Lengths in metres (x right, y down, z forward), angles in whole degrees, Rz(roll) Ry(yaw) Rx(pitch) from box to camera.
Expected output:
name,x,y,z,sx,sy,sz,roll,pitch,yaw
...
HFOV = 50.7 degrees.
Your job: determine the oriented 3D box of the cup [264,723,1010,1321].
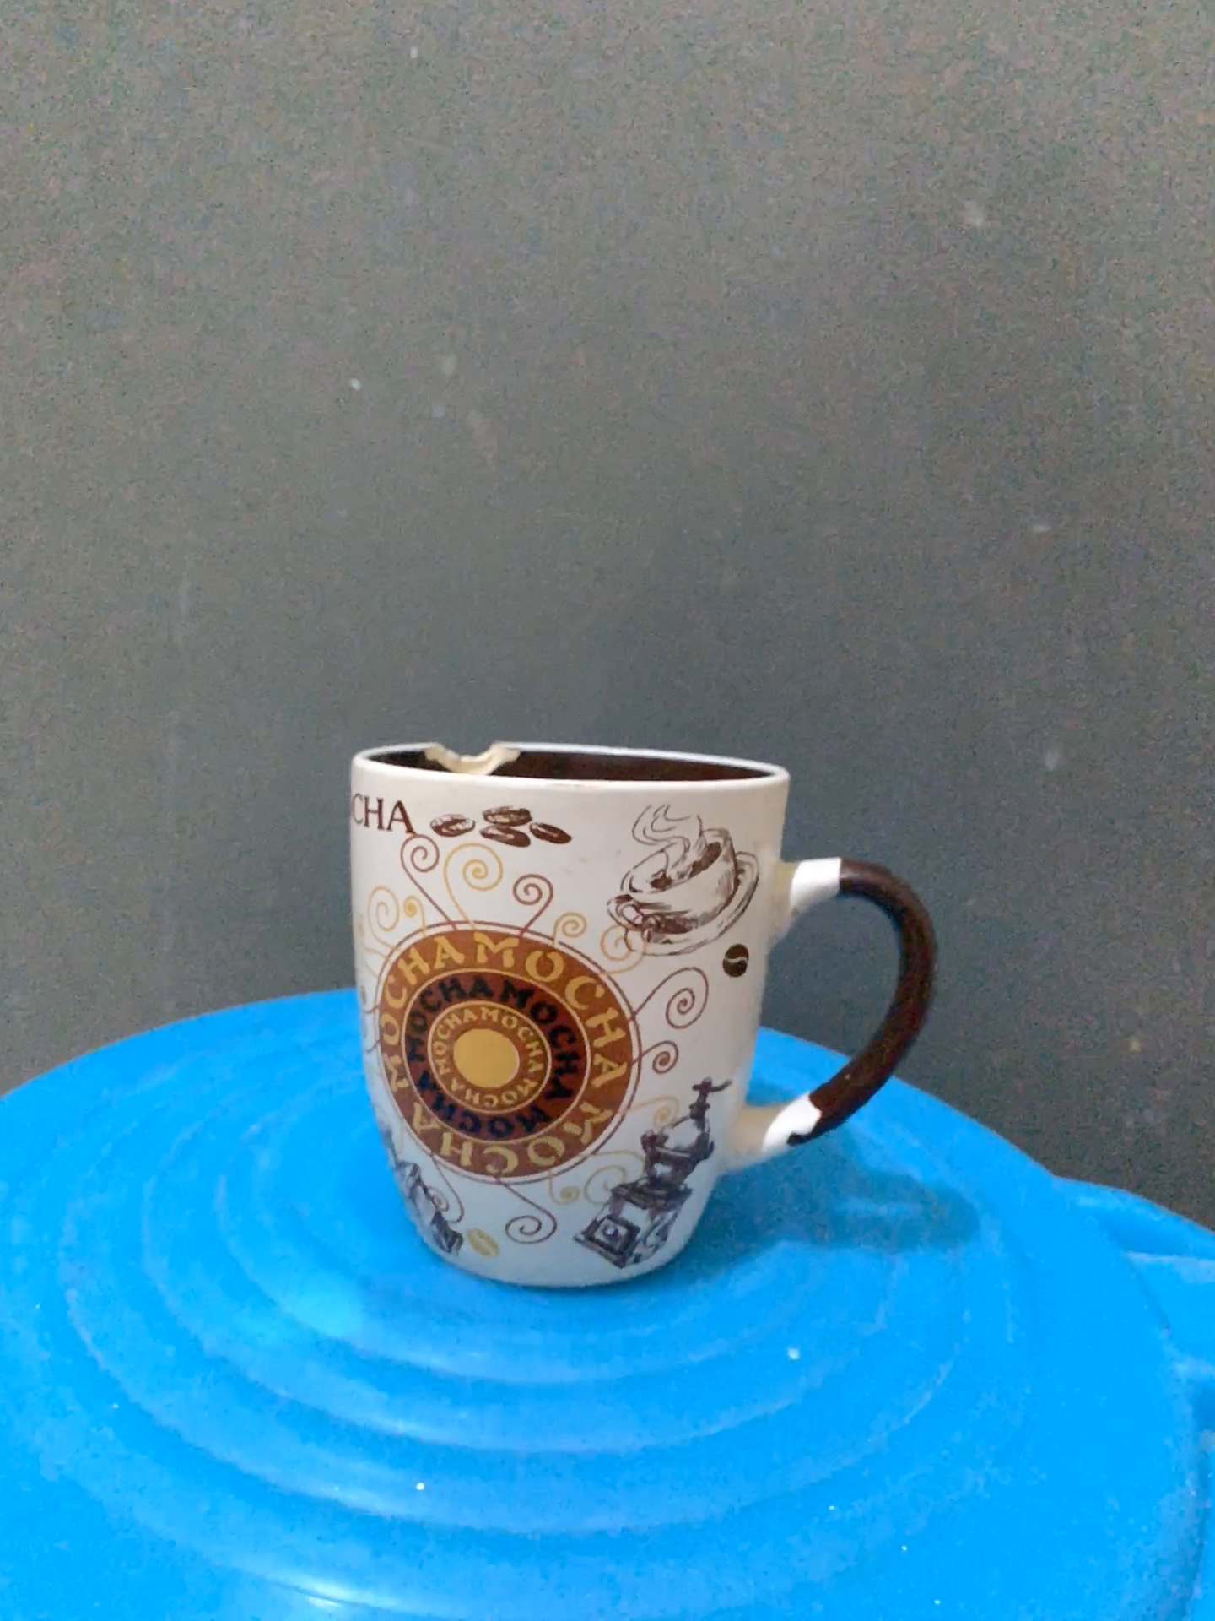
name,x,y,z,sx,sy,sz,roll,pitch,yaw
cup,0.003,0.031,0.230,0.109,0.083,0.070,3,7,-1
